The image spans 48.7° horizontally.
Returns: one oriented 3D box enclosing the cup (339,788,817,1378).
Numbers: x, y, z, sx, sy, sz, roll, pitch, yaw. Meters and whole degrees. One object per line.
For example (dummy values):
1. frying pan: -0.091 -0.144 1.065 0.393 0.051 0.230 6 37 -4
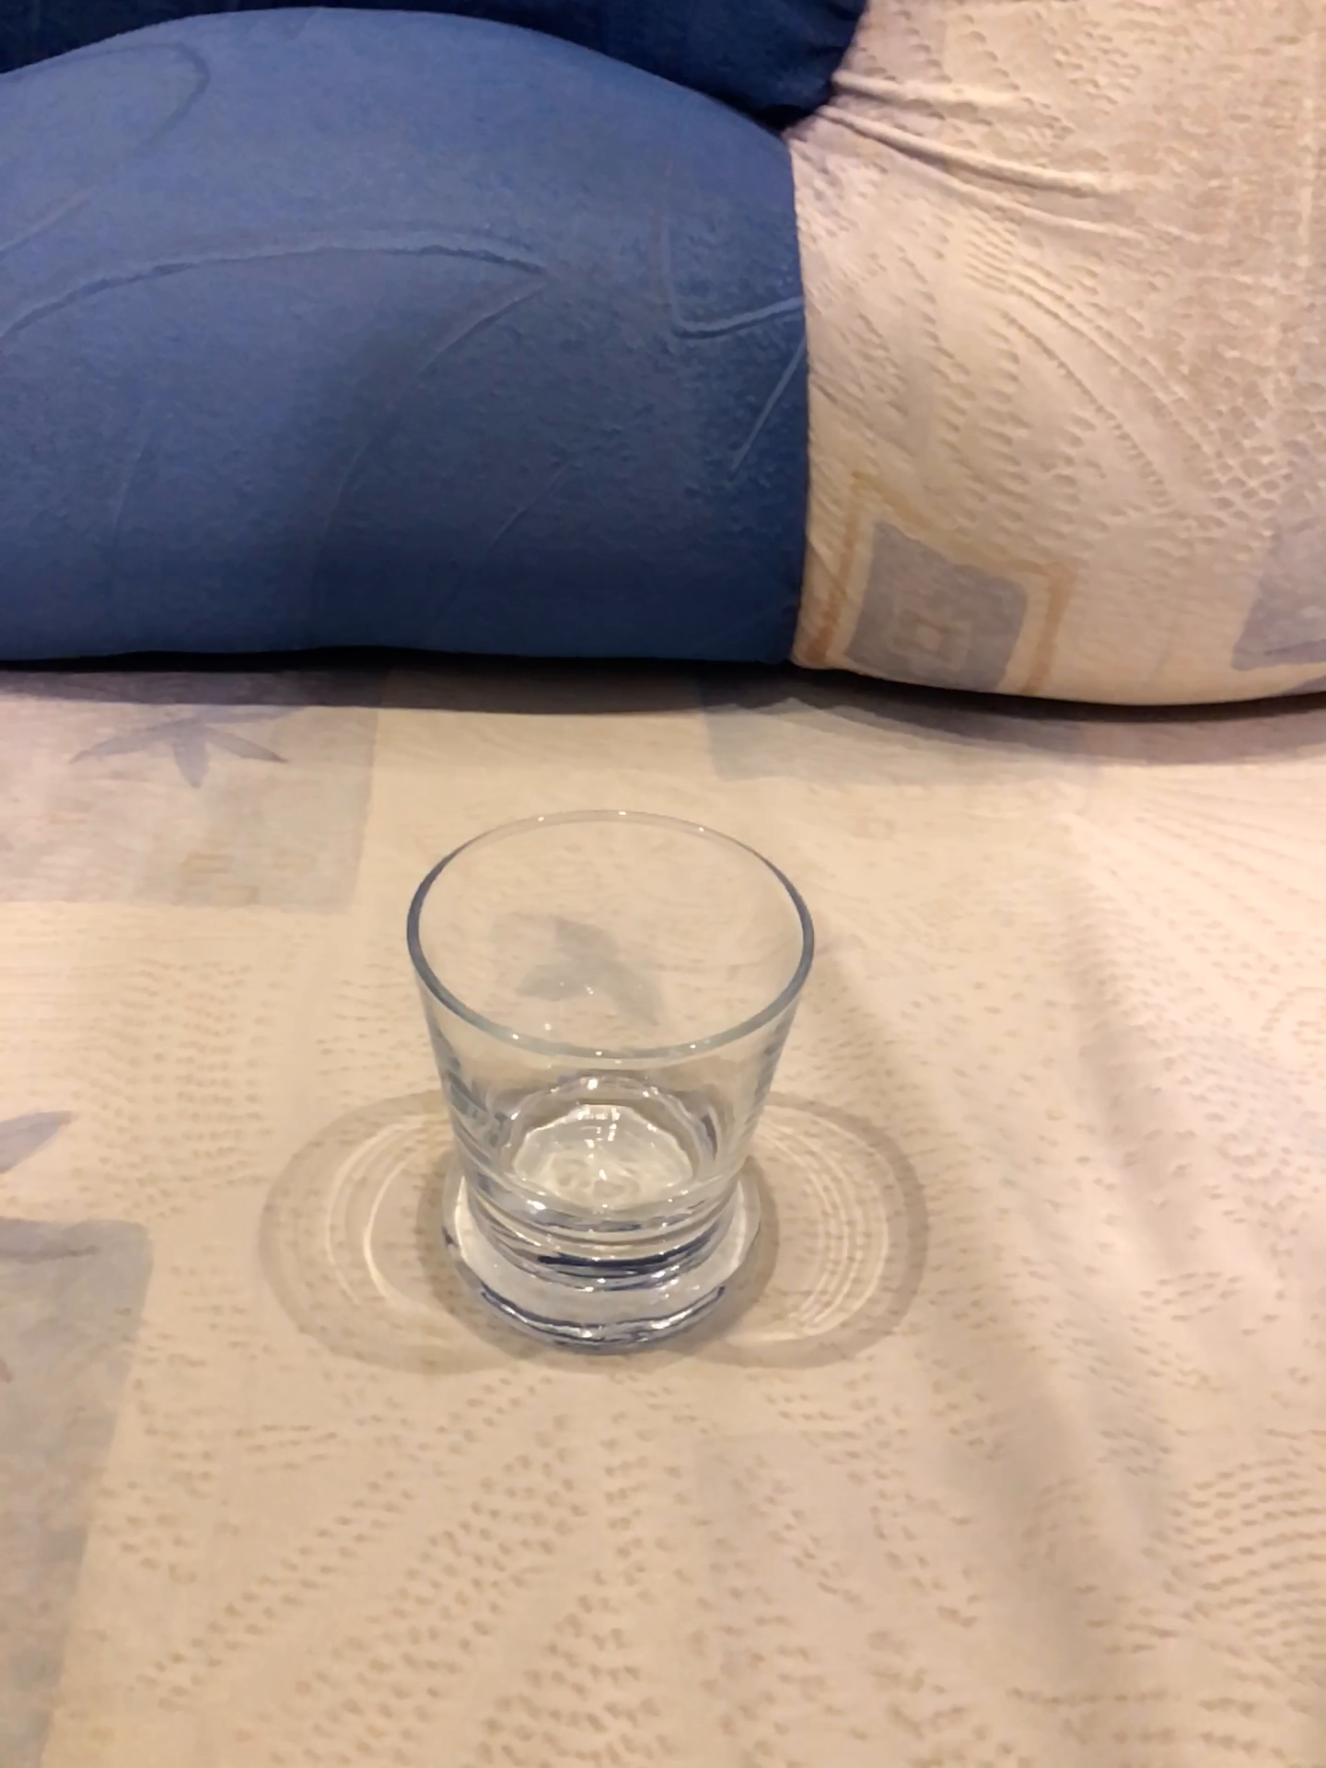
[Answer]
1. cup: -0.013 0.040 0.316 0.084 0.083 0.087 1 35 -1
